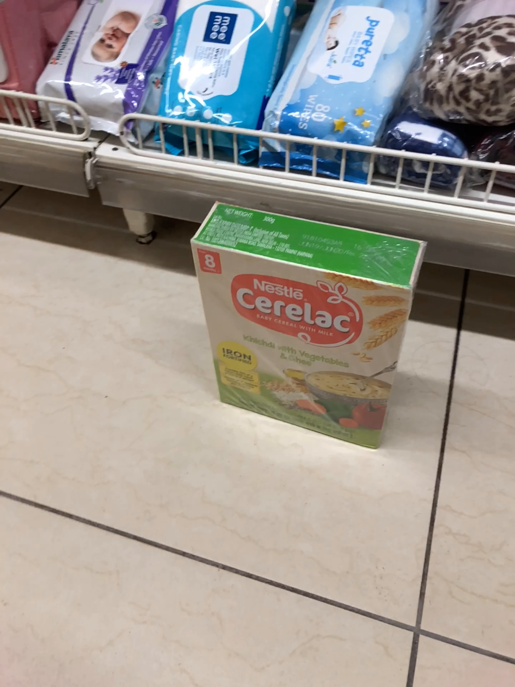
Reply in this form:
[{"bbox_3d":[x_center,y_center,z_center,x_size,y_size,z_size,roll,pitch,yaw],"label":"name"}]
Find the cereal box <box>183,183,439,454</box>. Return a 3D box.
[{"bbox_3d":[0.040,-0.012,0.455,0.160,0.199,0.060,15,52,16],"label":"cereal box"}]
